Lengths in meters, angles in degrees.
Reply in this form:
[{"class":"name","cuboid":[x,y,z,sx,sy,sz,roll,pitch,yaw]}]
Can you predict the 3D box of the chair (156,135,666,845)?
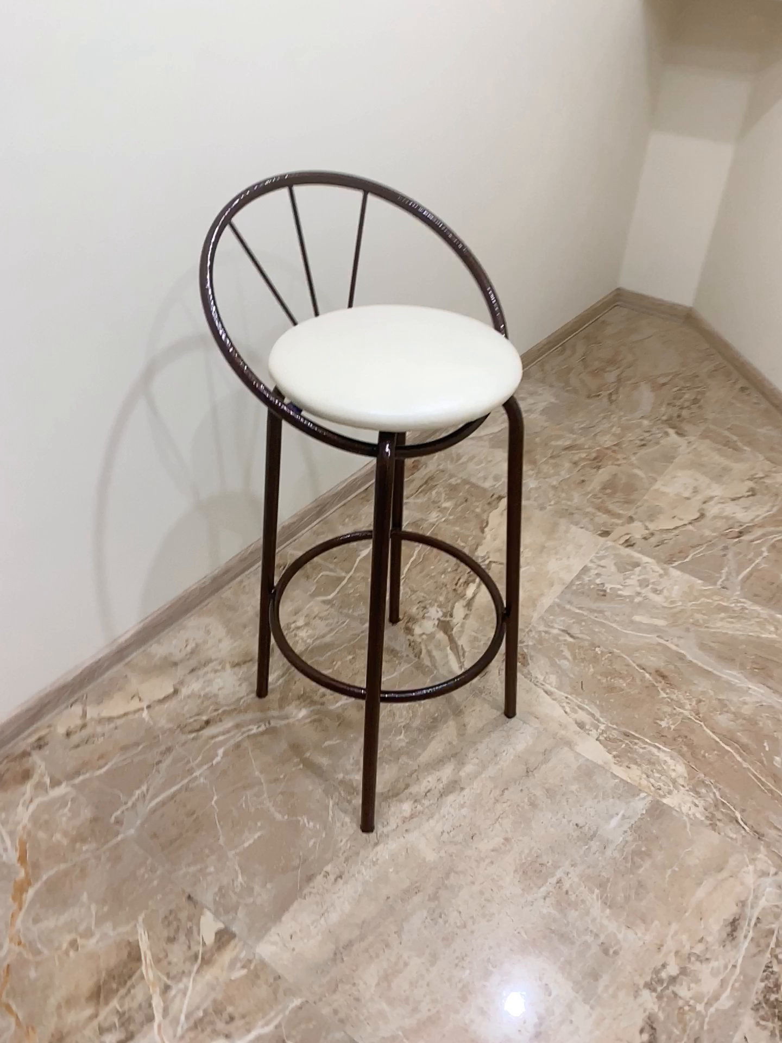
[{"class":"chair","cuboid":[0.008,-0.033,1.134,0.401,0.835,0.401,-28,46,-33]}]
